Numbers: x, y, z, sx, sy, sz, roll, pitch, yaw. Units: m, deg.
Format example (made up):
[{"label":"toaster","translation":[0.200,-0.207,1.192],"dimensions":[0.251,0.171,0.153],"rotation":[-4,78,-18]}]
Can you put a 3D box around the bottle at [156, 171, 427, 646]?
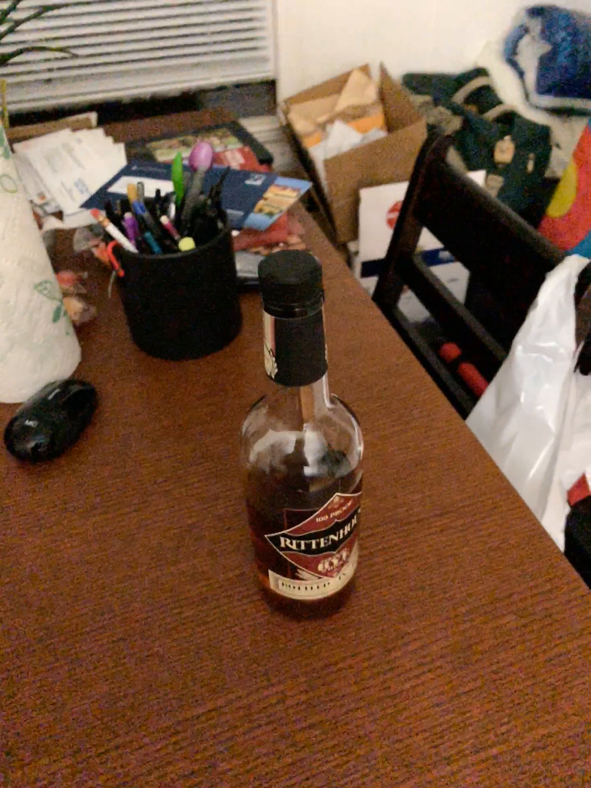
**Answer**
[{"label":"bottle","translation":[0.000,0.031,0.377],"dimensions":[0.090,0.289,0.090],"rotation":[-1,44,1]}]
